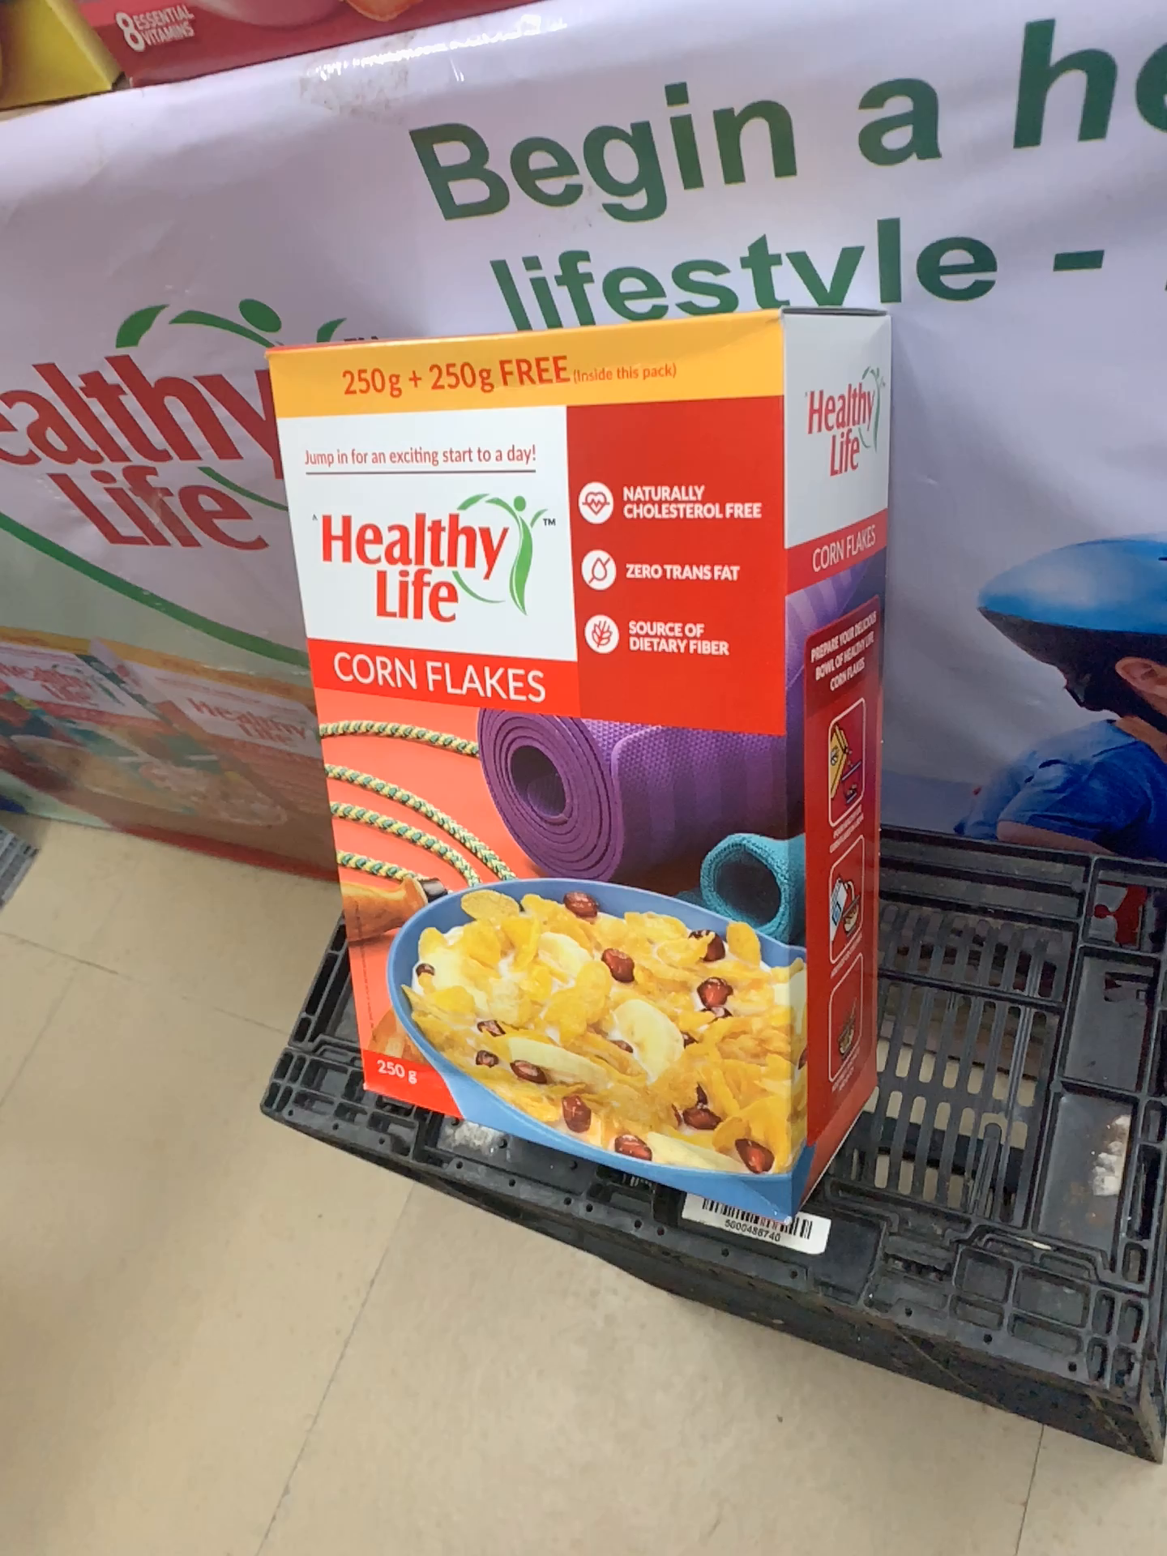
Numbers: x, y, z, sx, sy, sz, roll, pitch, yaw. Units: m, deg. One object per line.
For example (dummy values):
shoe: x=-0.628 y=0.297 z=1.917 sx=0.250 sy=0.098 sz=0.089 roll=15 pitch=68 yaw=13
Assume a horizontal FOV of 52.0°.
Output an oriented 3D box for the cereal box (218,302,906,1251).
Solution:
cereal box: x=-0.004 y=-0.009 z=0.422 sx=0.201 sy=0.280 sz=0.090 roll=8 pitch=21 yaw=30
